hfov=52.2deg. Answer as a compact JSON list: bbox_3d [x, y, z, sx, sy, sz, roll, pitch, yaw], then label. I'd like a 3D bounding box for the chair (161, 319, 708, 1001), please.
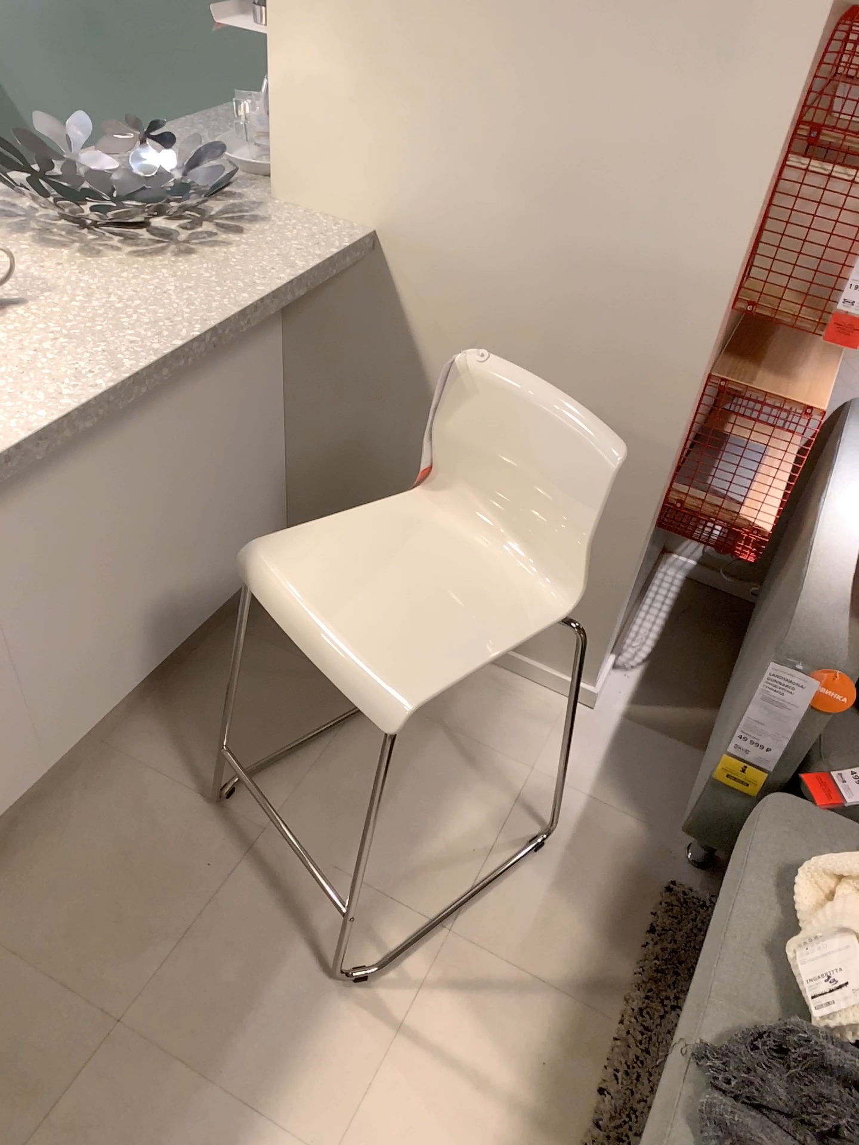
[{"bbox_3d":[-0.041,0.156,1.478,0.542,0.905,0.511,-23,50,-30],"label":"chair"}]
